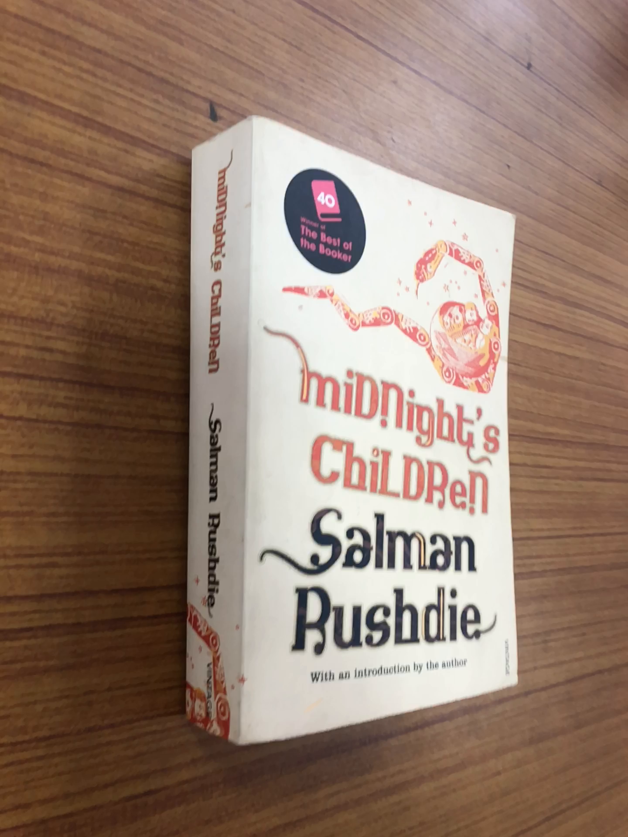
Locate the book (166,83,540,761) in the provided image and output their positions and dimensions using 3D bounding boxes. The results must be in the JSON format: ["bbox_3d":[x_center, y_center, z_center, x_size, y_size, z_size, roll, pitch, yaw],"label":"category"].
[{"bbox_3d":[0.020,0.002,0.263,0.141,0.040,0.200,5,81,-37],"label":"book"}]
